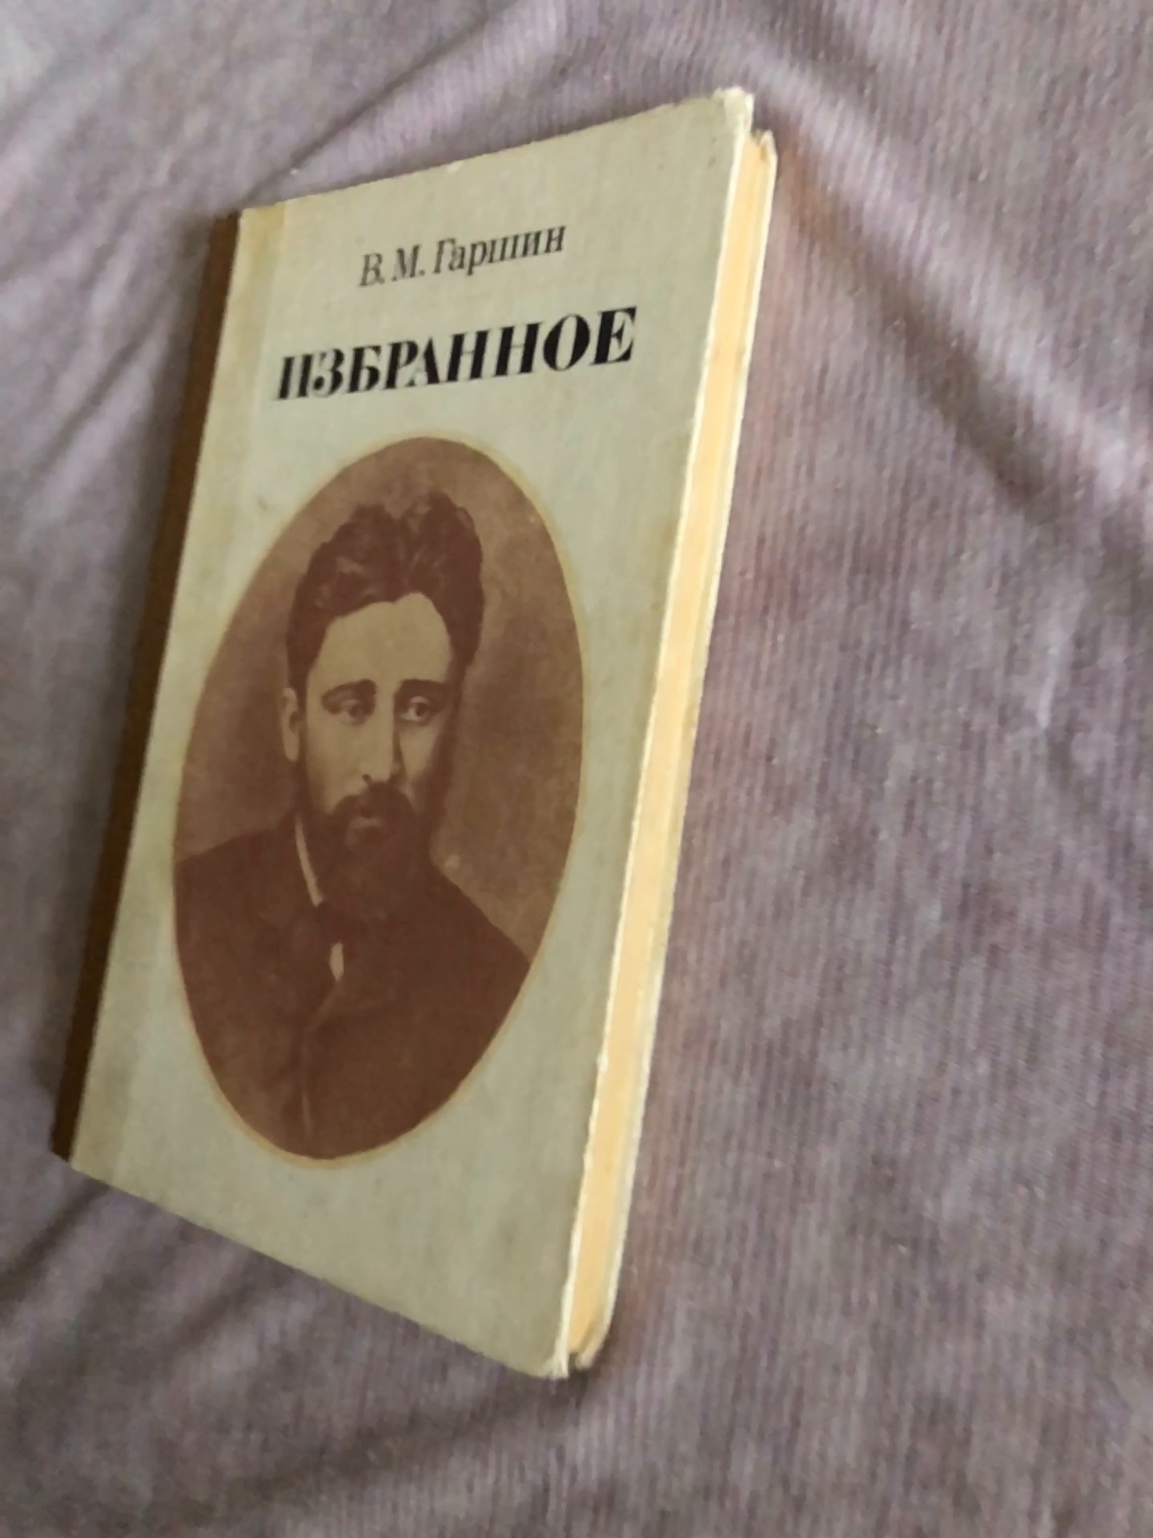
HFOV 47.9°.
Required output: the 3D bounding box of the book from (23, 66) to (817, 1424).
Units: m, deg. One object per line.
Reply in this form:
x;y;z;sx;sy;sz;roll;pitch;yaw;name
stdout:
-0.038;-0.011;0.261;0.142;0.030;0.220;6;86;36;book
